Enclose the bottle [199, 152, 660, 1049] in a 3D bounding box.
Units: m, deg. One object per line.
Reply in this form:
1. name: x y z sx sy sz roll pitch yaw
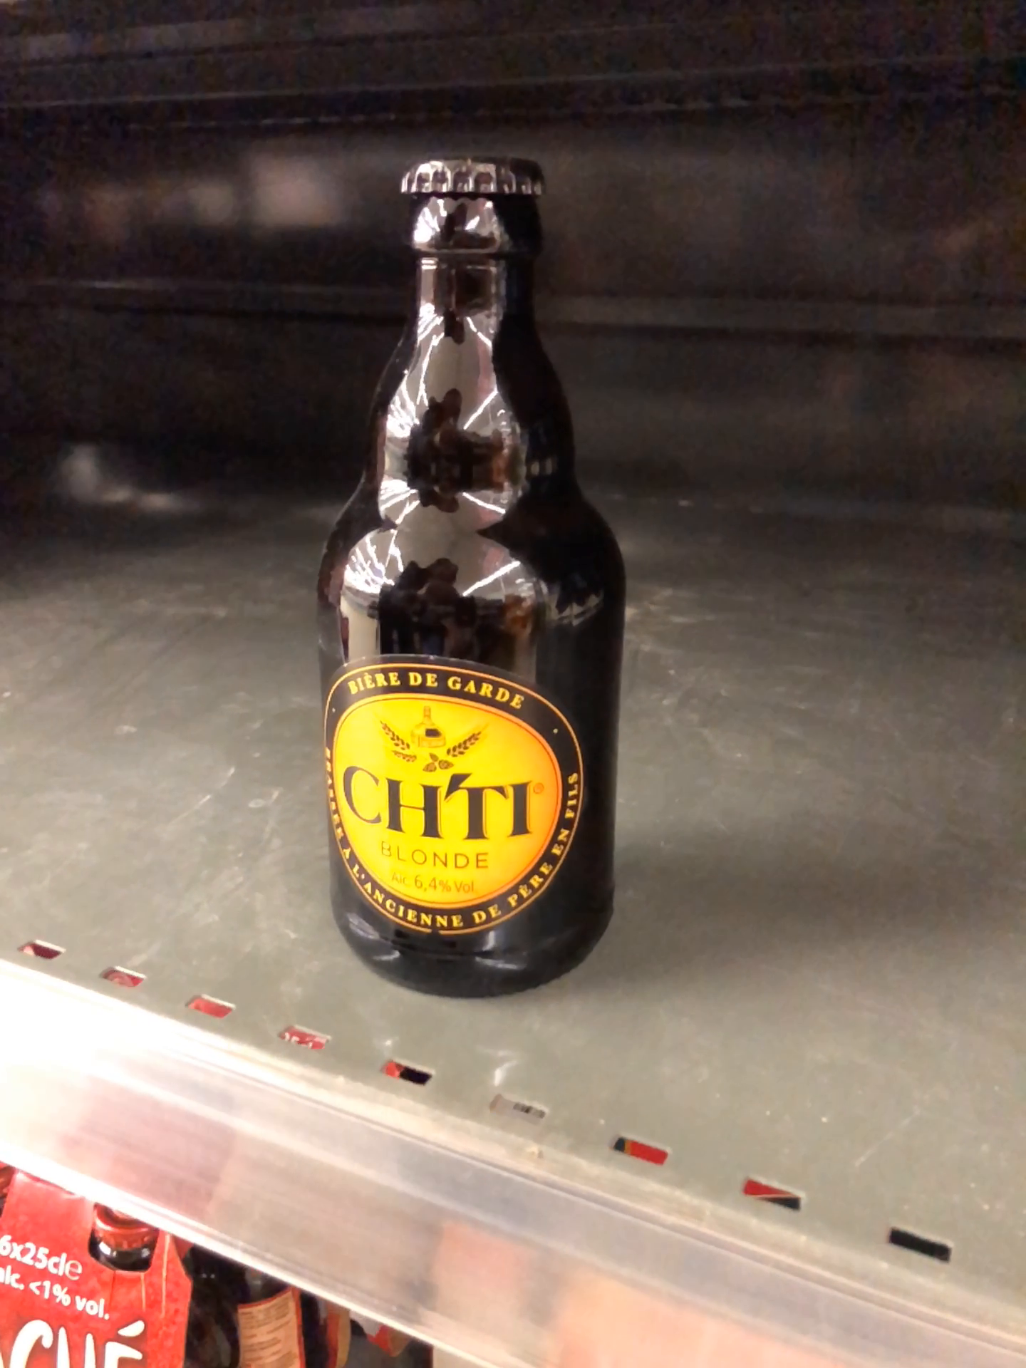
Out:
1. bottle: -0.012 -0.019 0.248 0.070 0.169 0.070 0 19 0
